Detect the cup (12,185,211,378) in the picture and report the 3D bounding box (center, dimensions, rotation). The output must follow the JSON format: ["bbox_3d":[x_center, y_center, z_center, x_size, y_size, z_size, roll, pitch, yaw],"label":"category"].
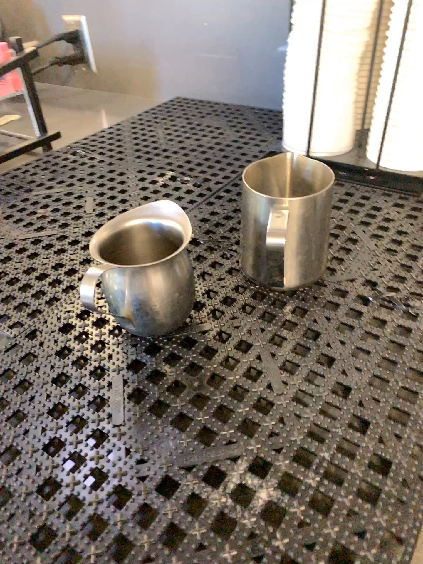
[{"bbox_3d":[-0.060,-0.008,0.315,0.080,0.070,0.121,10,40,17],"label":"cup"}]

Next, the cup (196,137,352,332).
[{"bbox_3d":[0.049,-0.041,0.311,0.080,0.079,0.121,8,39,16],"label":"cup"}]
